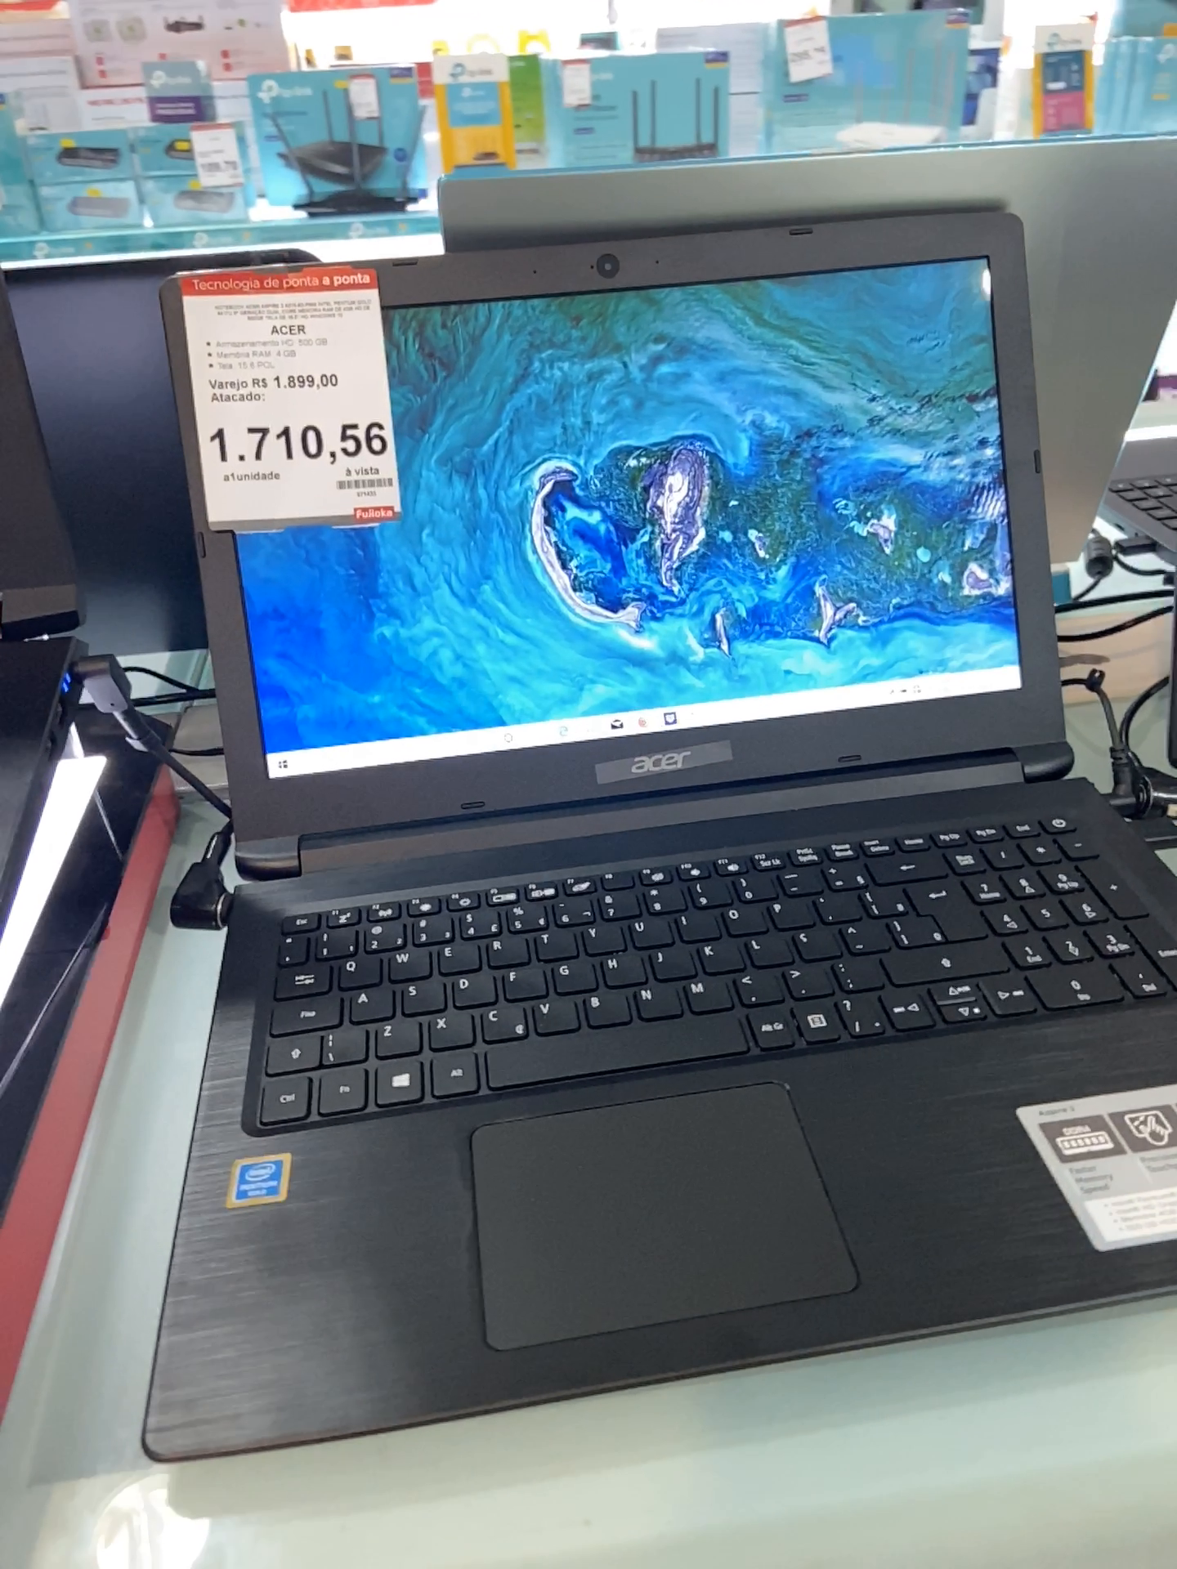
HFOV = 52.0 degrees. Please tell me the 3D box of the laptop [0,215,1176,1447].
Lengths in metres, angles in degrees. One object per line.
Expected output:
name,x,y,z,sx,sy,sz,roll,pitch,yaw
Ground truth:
laptop,0.036,-0.046,0.430,0.377,0.216,0.382,-7,33,-6
